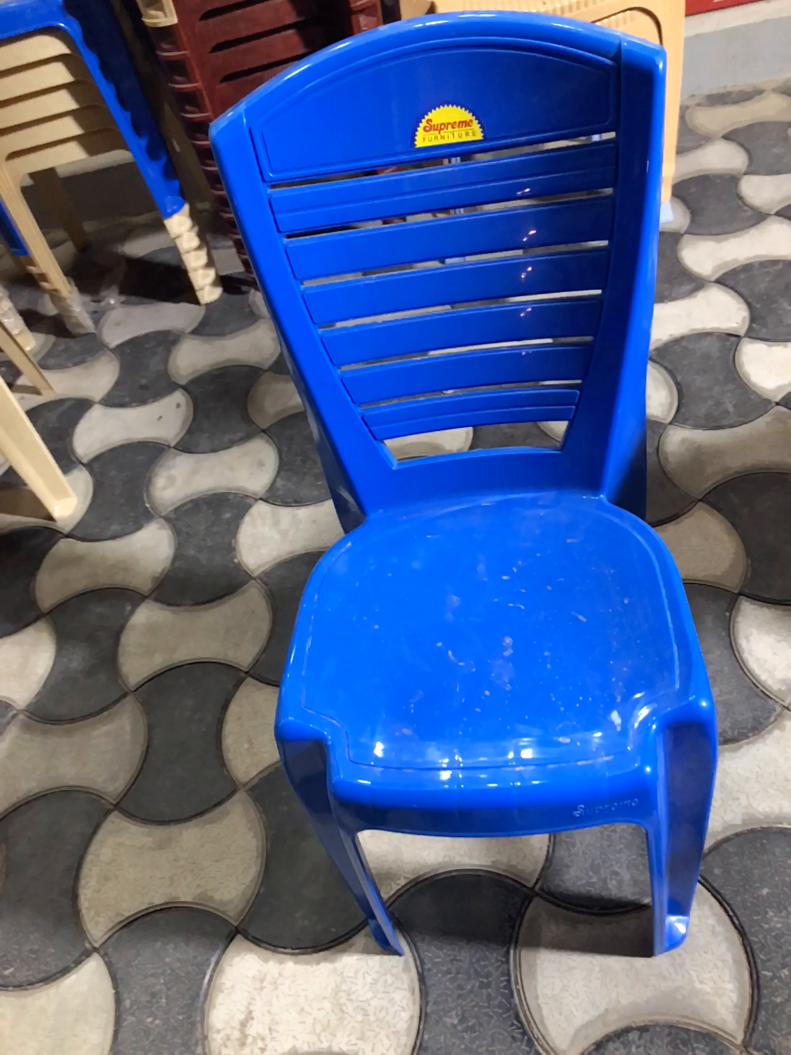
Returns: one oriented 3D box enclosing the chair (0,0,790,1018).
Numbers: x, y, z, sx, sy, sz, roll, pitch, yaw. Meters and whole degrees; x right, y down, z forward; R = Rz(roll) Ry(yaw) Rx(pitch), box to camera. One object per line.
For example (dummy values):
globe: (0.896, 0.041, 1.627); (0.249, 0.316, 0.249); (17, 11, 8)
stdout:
chair: (0.049, 0.027, 0.750); (0.470, 0.726, 0.513); (-4, 46, 11)
